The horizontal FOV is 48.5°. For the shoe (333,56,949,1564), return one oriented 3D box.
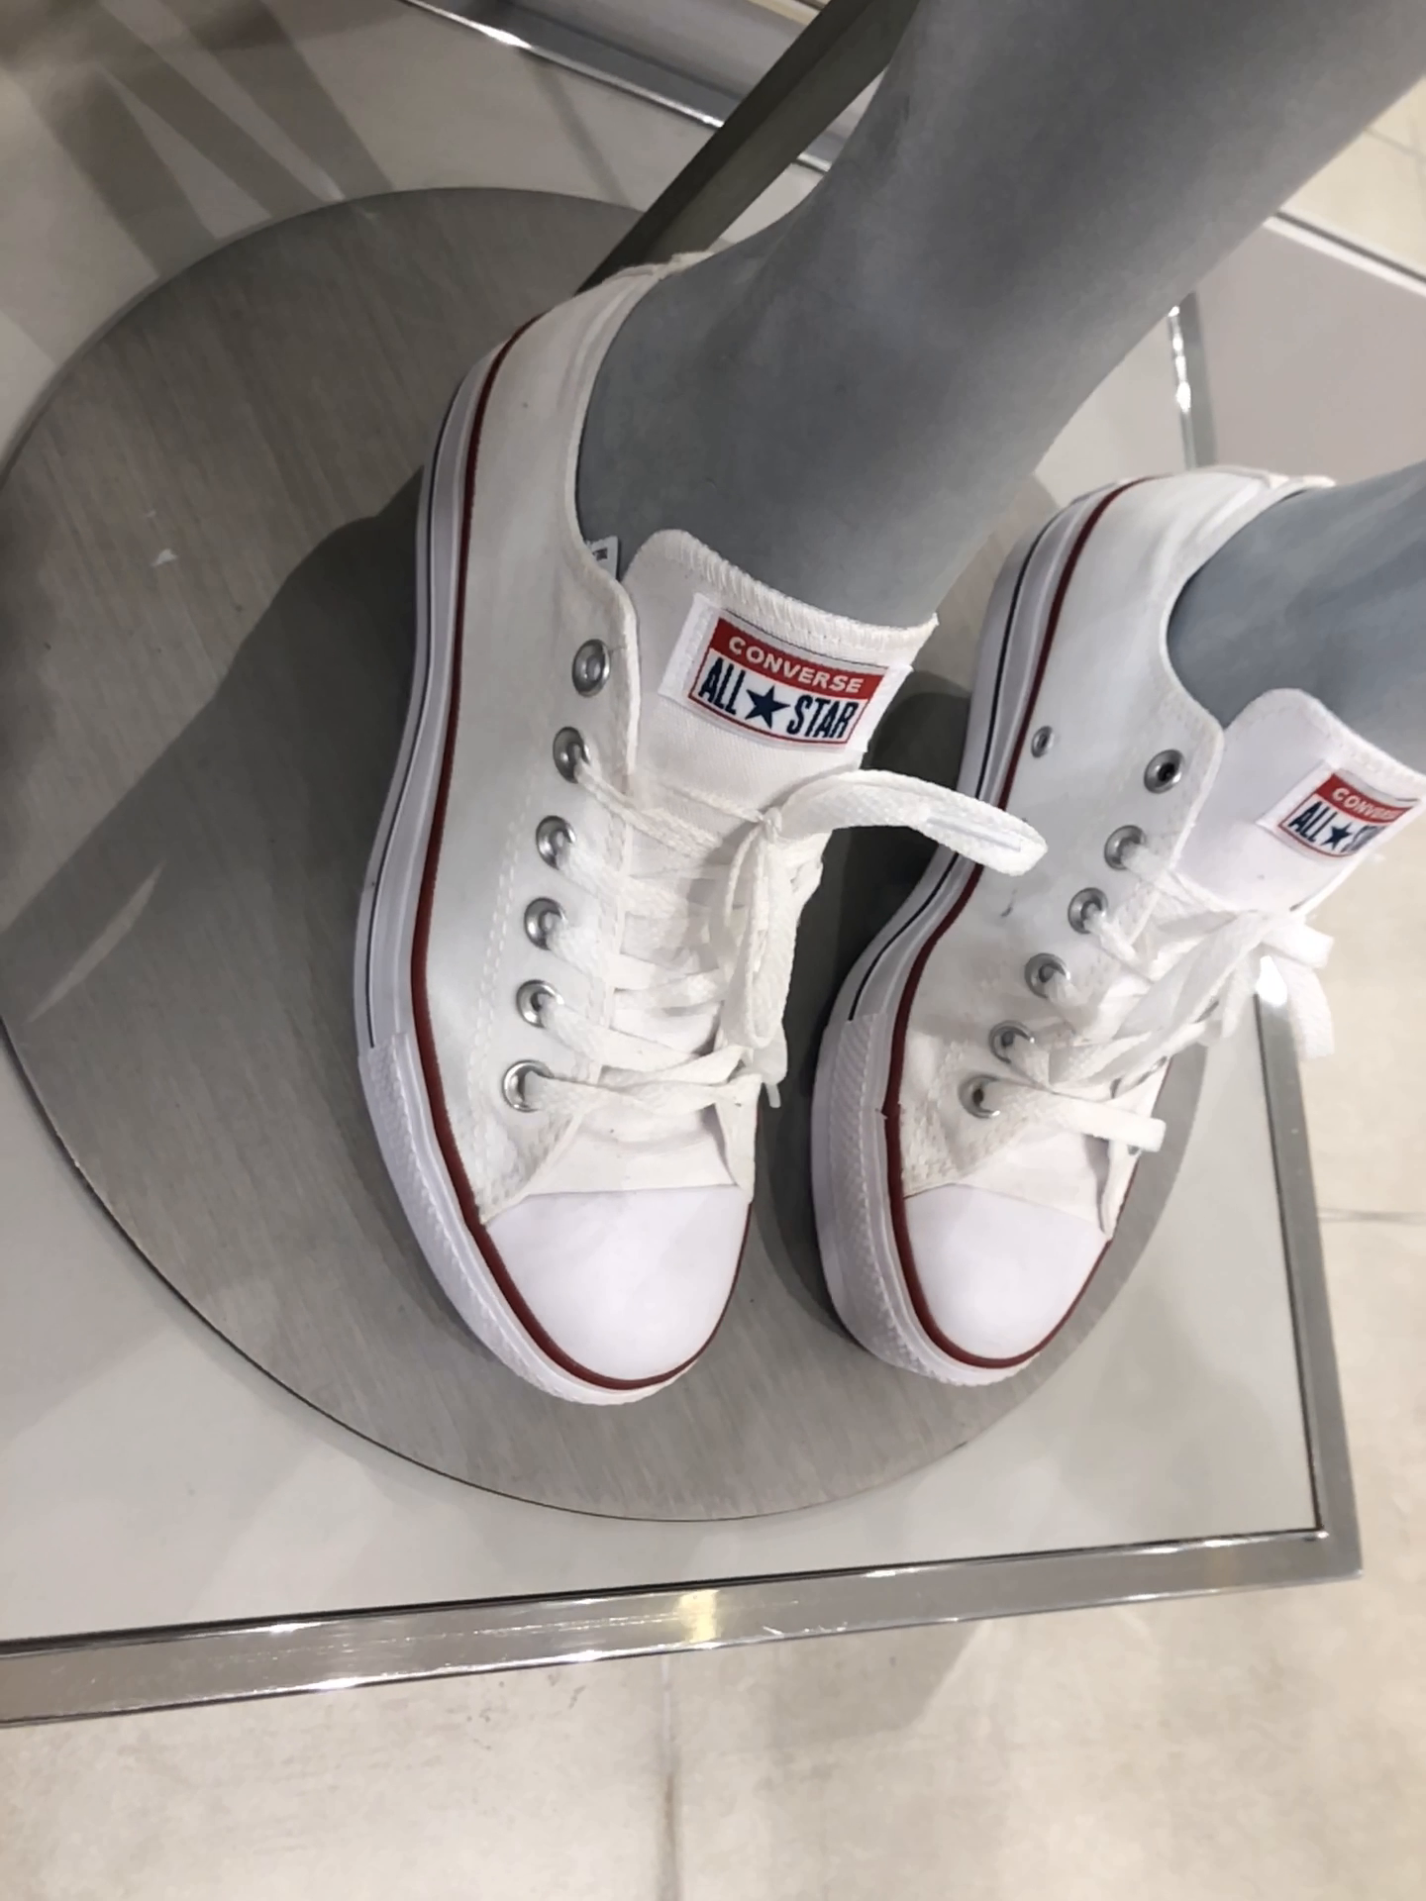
[{"bbox_3d":[-0.018,-0.025,0.347,0.100,0.090,0.270,2,89,-29],"label":"shoe"}]

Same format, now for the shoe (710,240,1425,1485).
[{"bbox_3d":[0.098,-0.018,0.421,0.110,0.090,0.280,16,82,-24],"label":"shoe"}]
